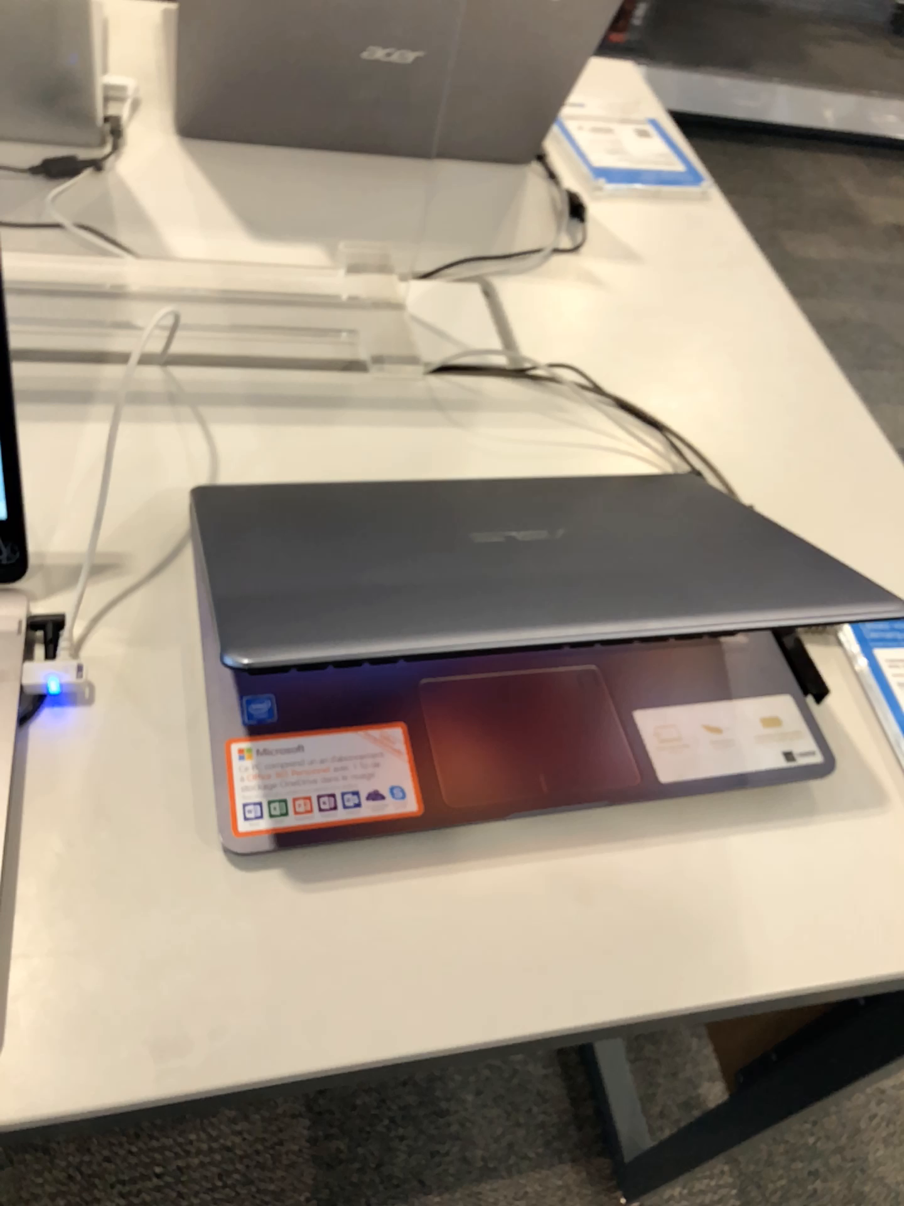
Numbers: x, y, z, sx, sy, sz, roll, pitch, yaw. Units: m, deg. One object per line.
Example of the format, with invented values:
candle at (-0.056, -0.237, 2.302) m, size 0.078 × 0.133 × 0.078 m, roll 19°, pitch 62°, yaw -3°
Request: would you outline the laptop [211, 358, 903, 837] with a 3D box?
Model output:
laptop at (0.044, -0.017, 0.505) m, size 0.300 × 0.099 × 0.201 m, roll -4°, pitch 52°, yaw -18°
